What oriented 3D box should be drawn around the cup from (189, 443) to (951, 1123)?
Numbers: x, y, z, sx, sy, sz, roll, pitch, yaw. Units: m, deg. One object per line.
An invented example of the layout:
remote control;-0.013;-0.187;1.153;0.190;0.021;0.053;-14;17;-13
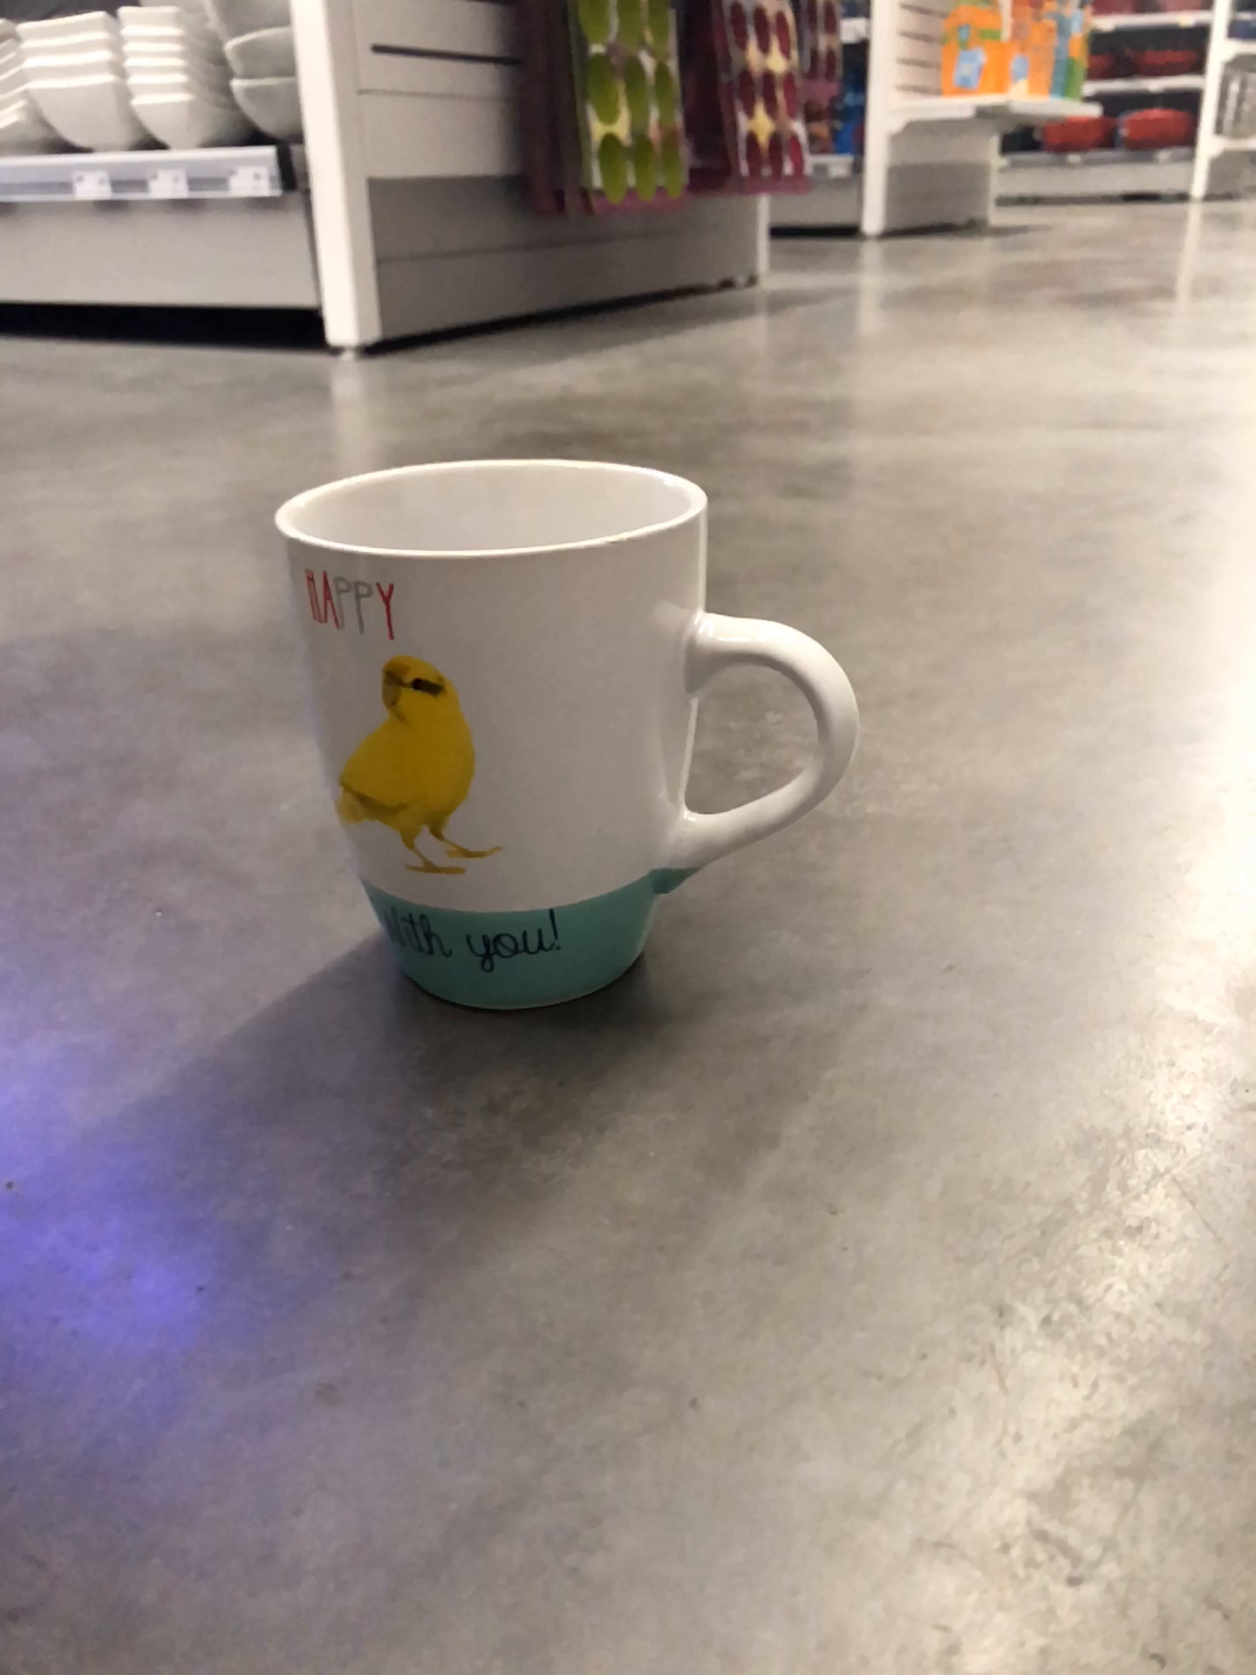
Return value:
cup;-0.007;-0.023;0.315;0.129;0.107;0.098;10;27;24
